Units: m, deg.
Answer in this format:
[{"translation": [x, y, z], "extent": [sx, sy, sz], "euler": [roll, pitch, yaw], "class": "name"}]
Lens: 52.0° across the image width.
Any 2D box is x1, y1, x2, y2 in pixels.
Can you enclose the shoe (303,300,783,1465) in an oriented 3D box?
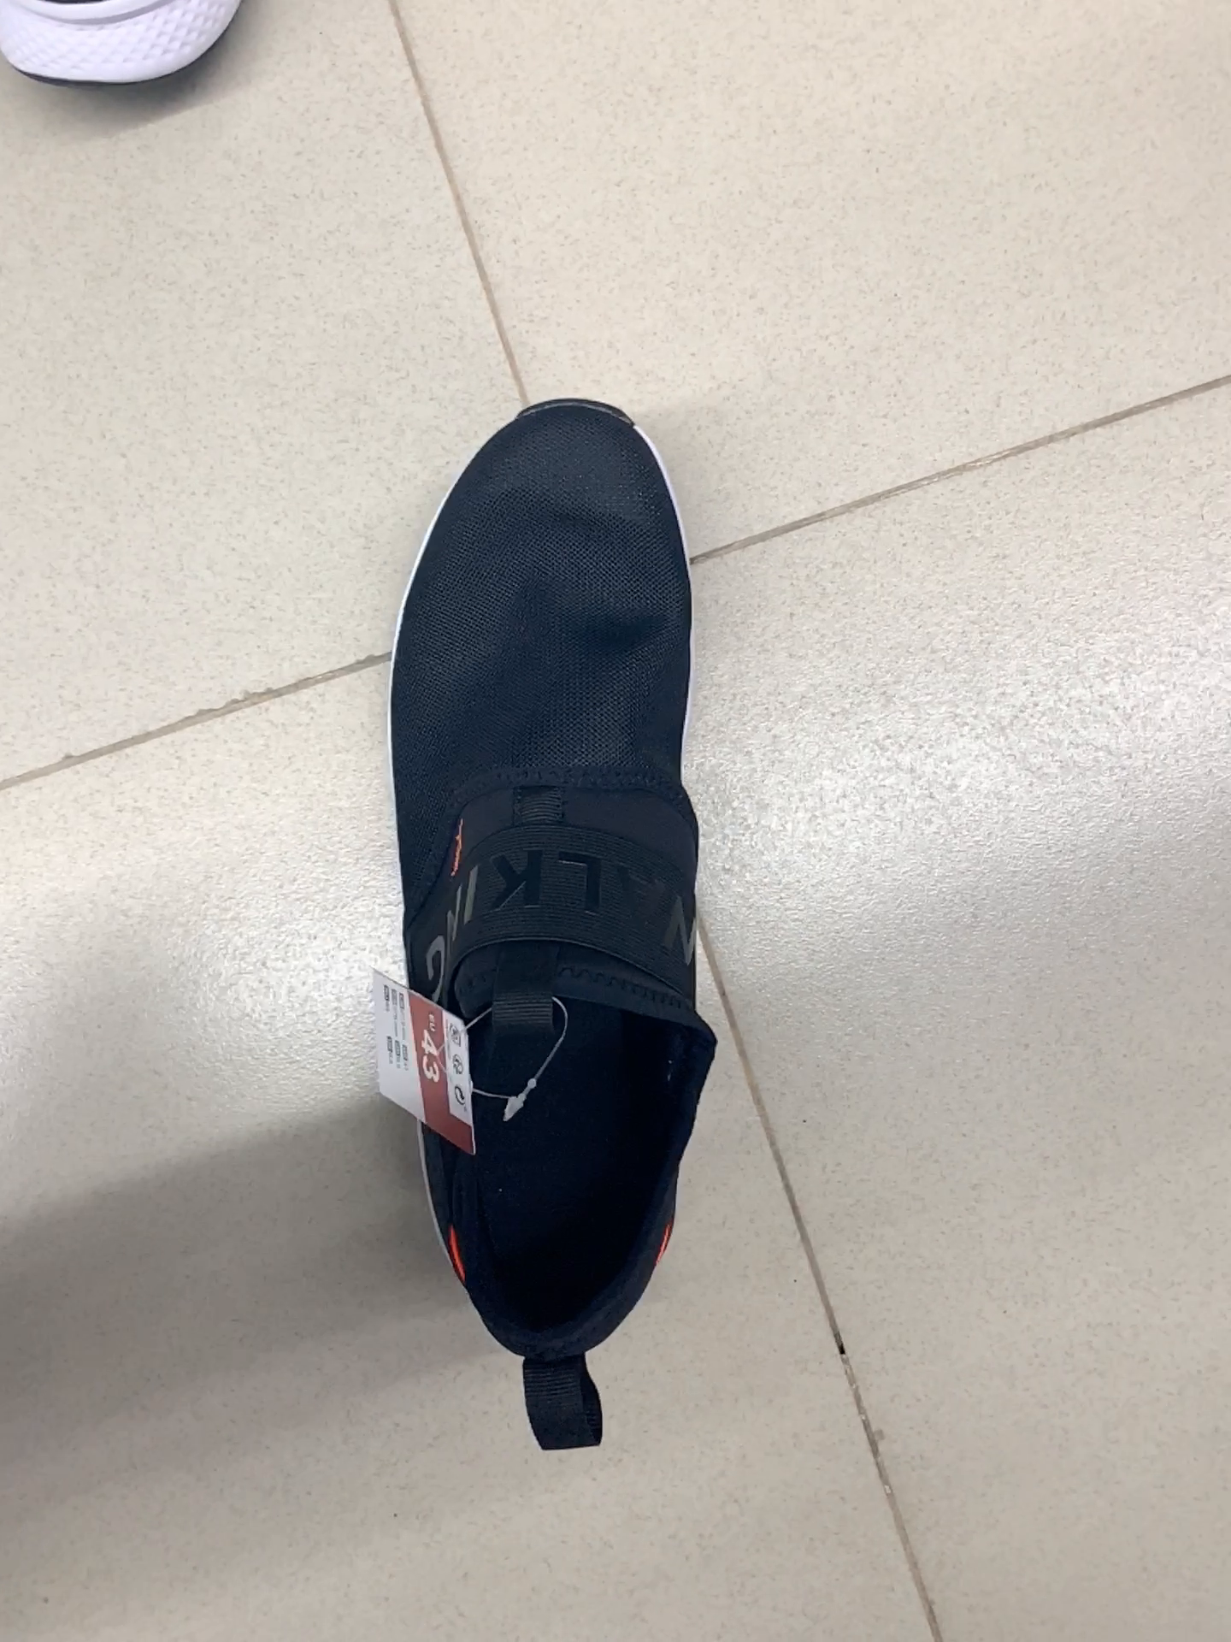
[{"translation": [-0.017, 0.016, 0.367], "extent": [0.110, 0.120, 0.280], "euler": [-2, 89, 1], "class": "shoe"}]
